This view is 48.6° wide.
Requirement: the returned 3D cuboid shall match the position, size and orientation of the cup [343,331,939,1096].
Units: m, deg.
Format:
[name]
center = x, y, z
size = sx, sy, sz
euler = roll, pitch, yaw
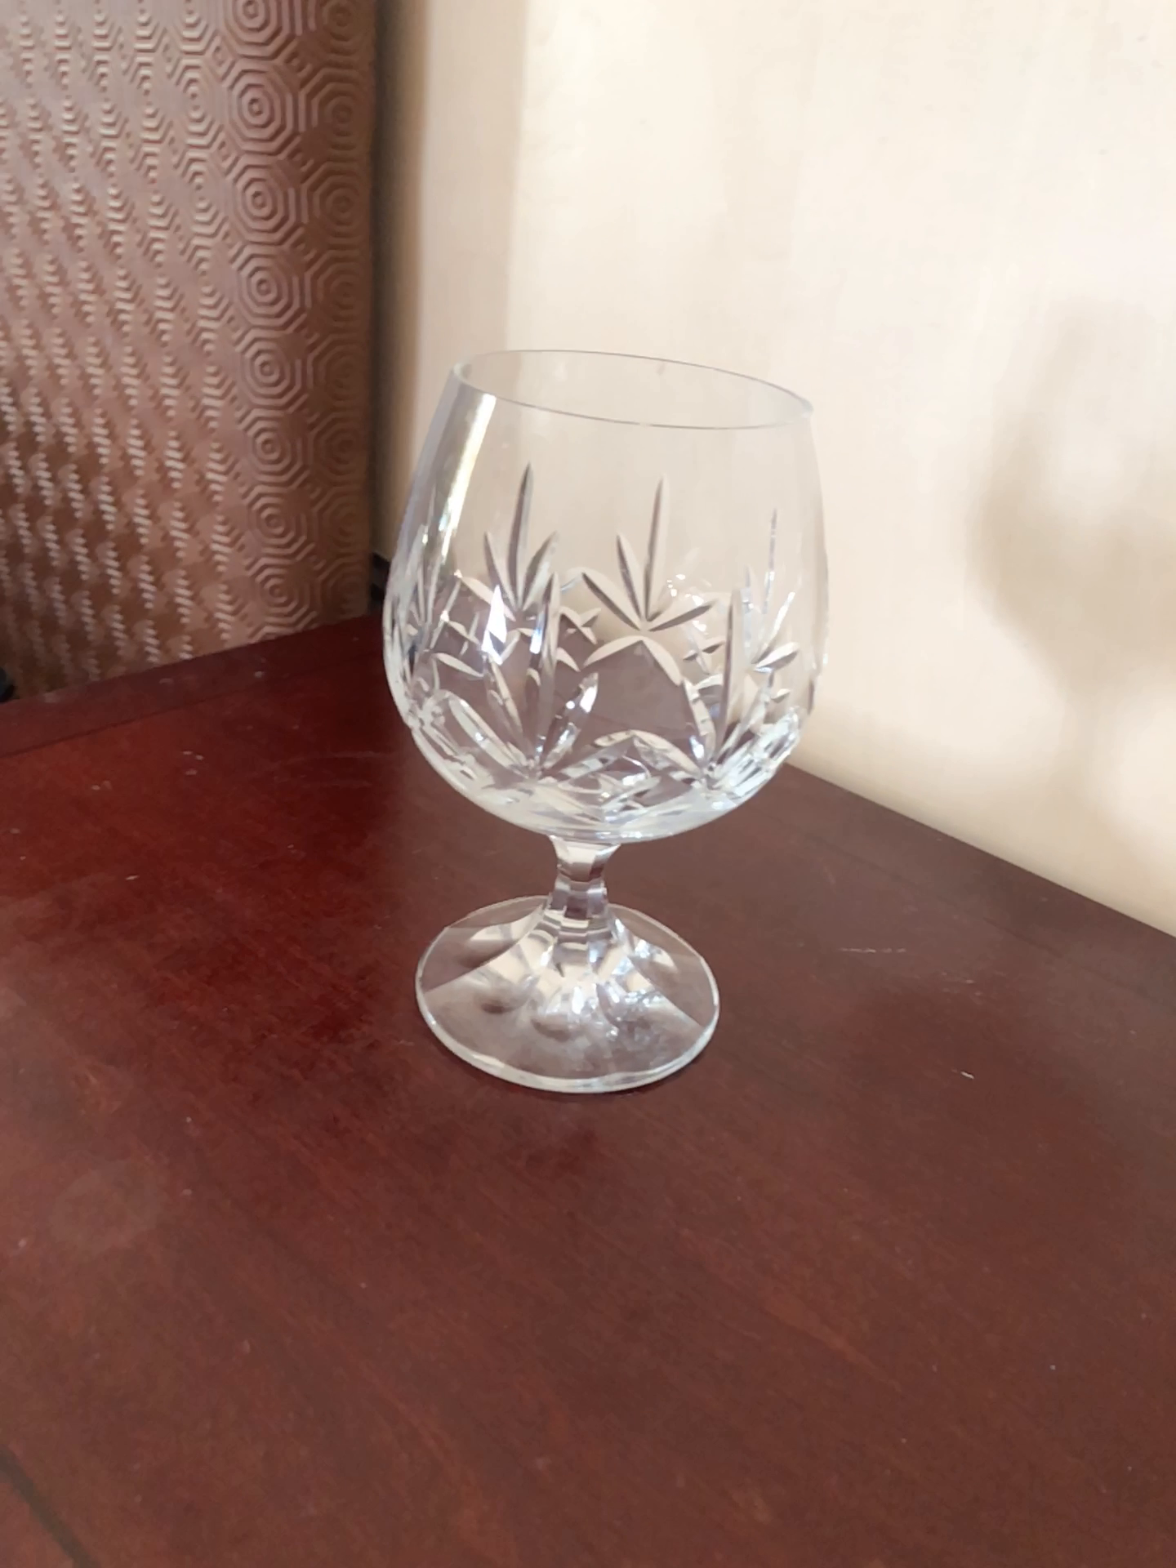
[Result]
[cup]
center = -0.002, -0.016, 0.267
size = 0.089, 0.126, 0.088
euler = 6, 26, -3
